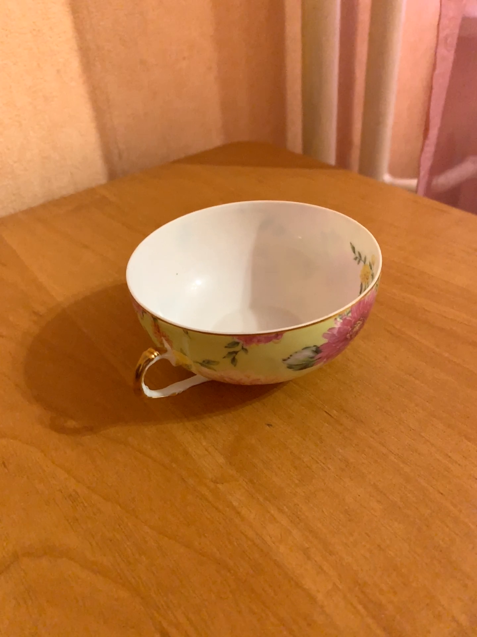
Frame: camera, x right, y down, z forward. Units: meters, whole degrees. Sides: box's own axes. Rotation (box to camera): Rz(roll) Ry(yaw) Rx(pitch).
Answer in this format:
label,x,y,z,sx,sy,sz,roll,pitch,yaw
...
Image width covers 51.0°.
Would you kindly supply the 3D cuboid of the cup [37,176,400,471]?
label,x,y,z,sx,sy,sz,roll,pitch,yaw
cup,-0.006,-0.009,0.201,0.113,0.045,0.079,-28,42,-26
